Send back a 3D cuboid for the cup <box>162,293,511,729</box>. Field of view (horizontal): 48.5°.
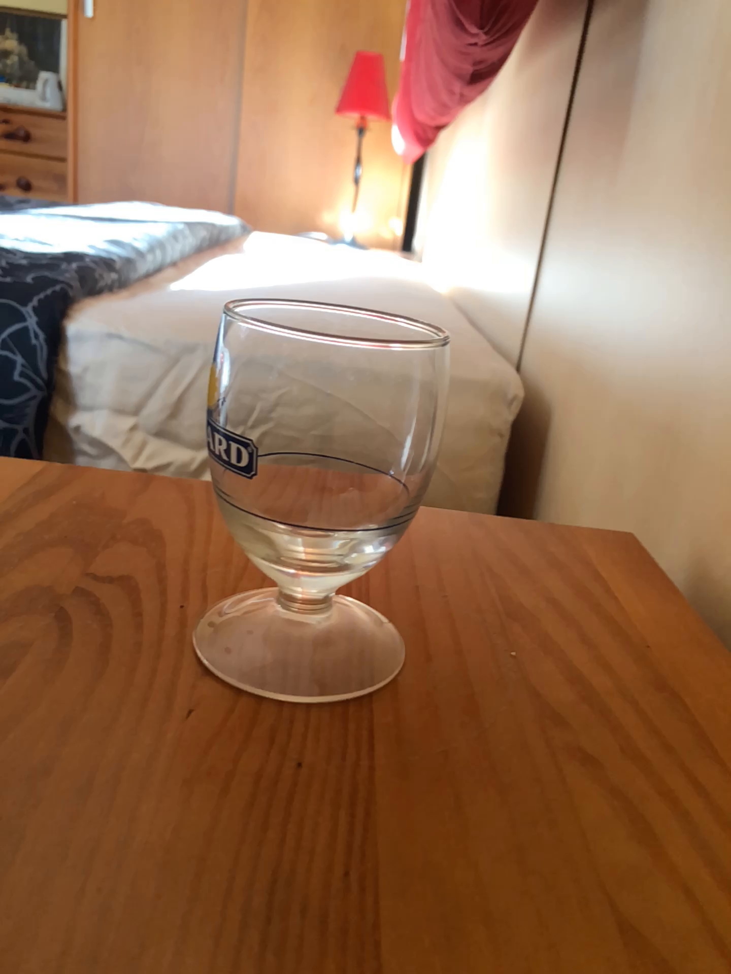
[{"bbox_3d":[-0.015,0.003,0.232,0.069,0.098,0.069,8,18,-3],"label":"cup"}]
